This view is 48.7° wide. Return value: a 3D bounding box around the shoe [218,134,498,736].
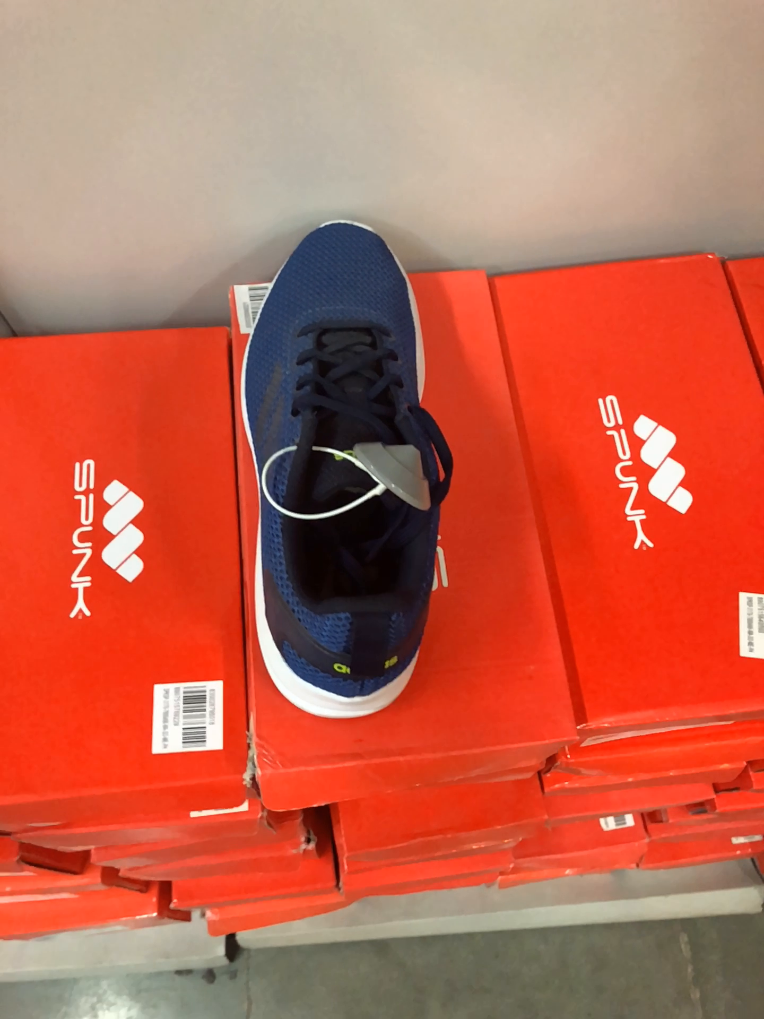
[{"bbox_3d":[-0.025,-0.052,0.466,0.113,0.114,0.317,-4,61,-4],"label":"shoe"}]
